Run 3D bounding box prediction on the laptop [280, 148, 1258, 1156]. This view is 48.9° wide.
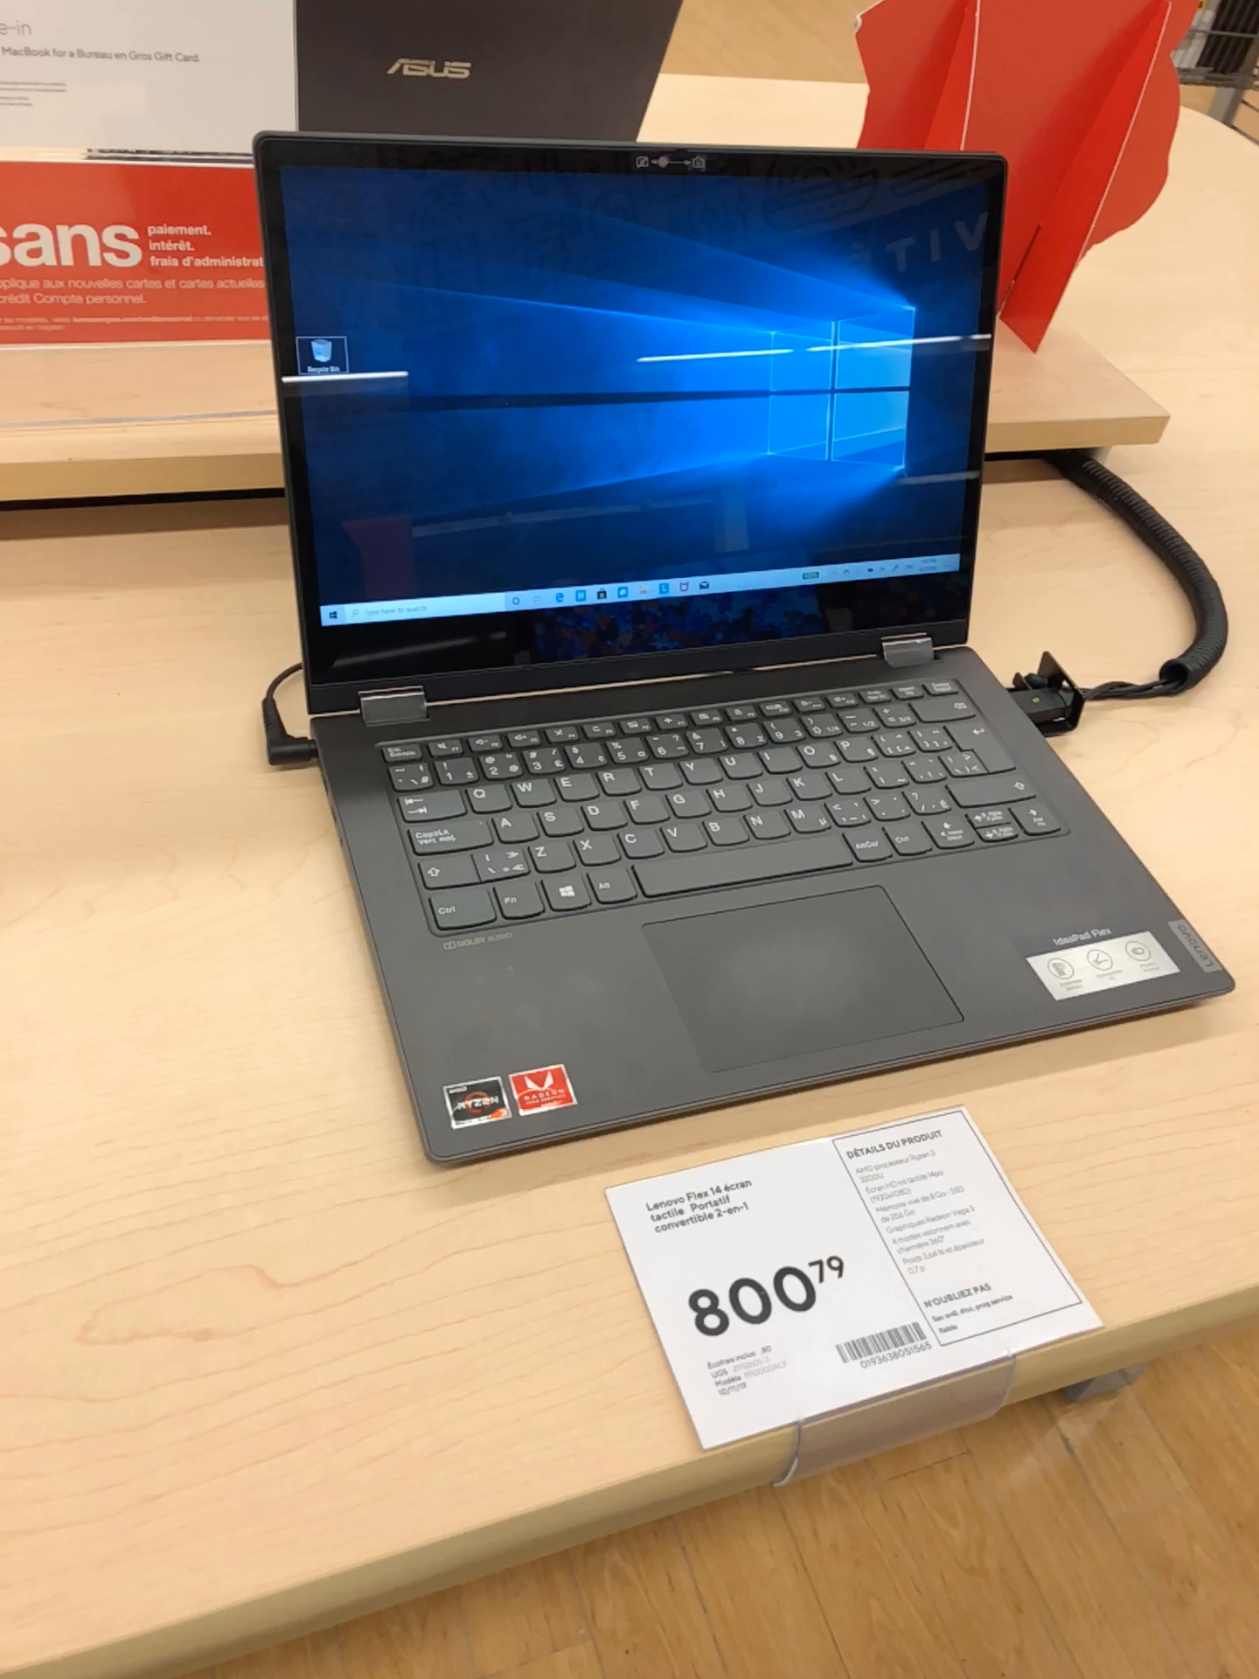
[{"bbox_3d":[0.055,-0.097,0.527,0.319,0.198,0.307,-8,47,-19],"label":"laptop"}]
